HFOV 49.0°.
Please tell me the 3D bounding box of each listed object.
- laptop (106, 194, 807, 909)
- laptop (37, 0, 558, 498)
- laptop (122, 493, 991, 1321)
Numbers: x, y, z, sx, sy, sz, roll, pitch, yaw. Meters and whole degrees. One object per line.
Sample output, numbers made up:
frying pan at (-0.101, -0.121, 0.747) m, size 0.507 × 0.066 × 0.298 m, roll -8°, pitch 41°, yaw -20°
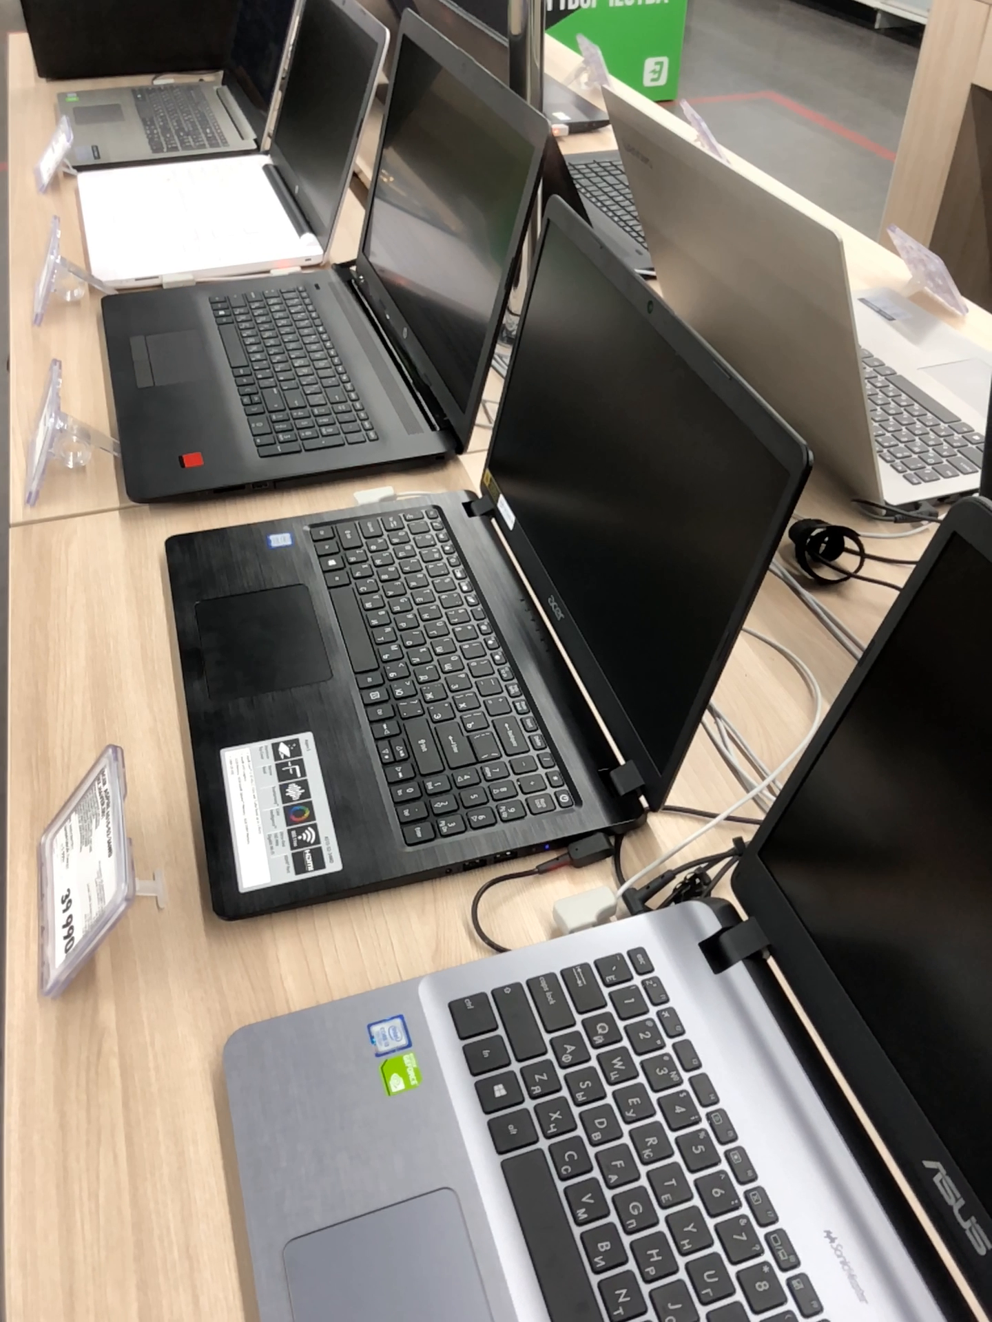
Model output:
laptop at (-0.051, -0.093, 0.644) m, size 0.291 × 0.219 × 0.347 m, roll -11°, pitch 42°, yaw -12°
laptop at (-0.175, -0.379, 0.934) m, size 0.345 × 0.226 × 0.355 m, roll -15°, pitch 46°, yaw -15°
laptop at (0.077, 0.155, 0.334) m, size 0.324 × 0.218 × 0.328 m, roll -12°, pitch 41°, yaw -11°
